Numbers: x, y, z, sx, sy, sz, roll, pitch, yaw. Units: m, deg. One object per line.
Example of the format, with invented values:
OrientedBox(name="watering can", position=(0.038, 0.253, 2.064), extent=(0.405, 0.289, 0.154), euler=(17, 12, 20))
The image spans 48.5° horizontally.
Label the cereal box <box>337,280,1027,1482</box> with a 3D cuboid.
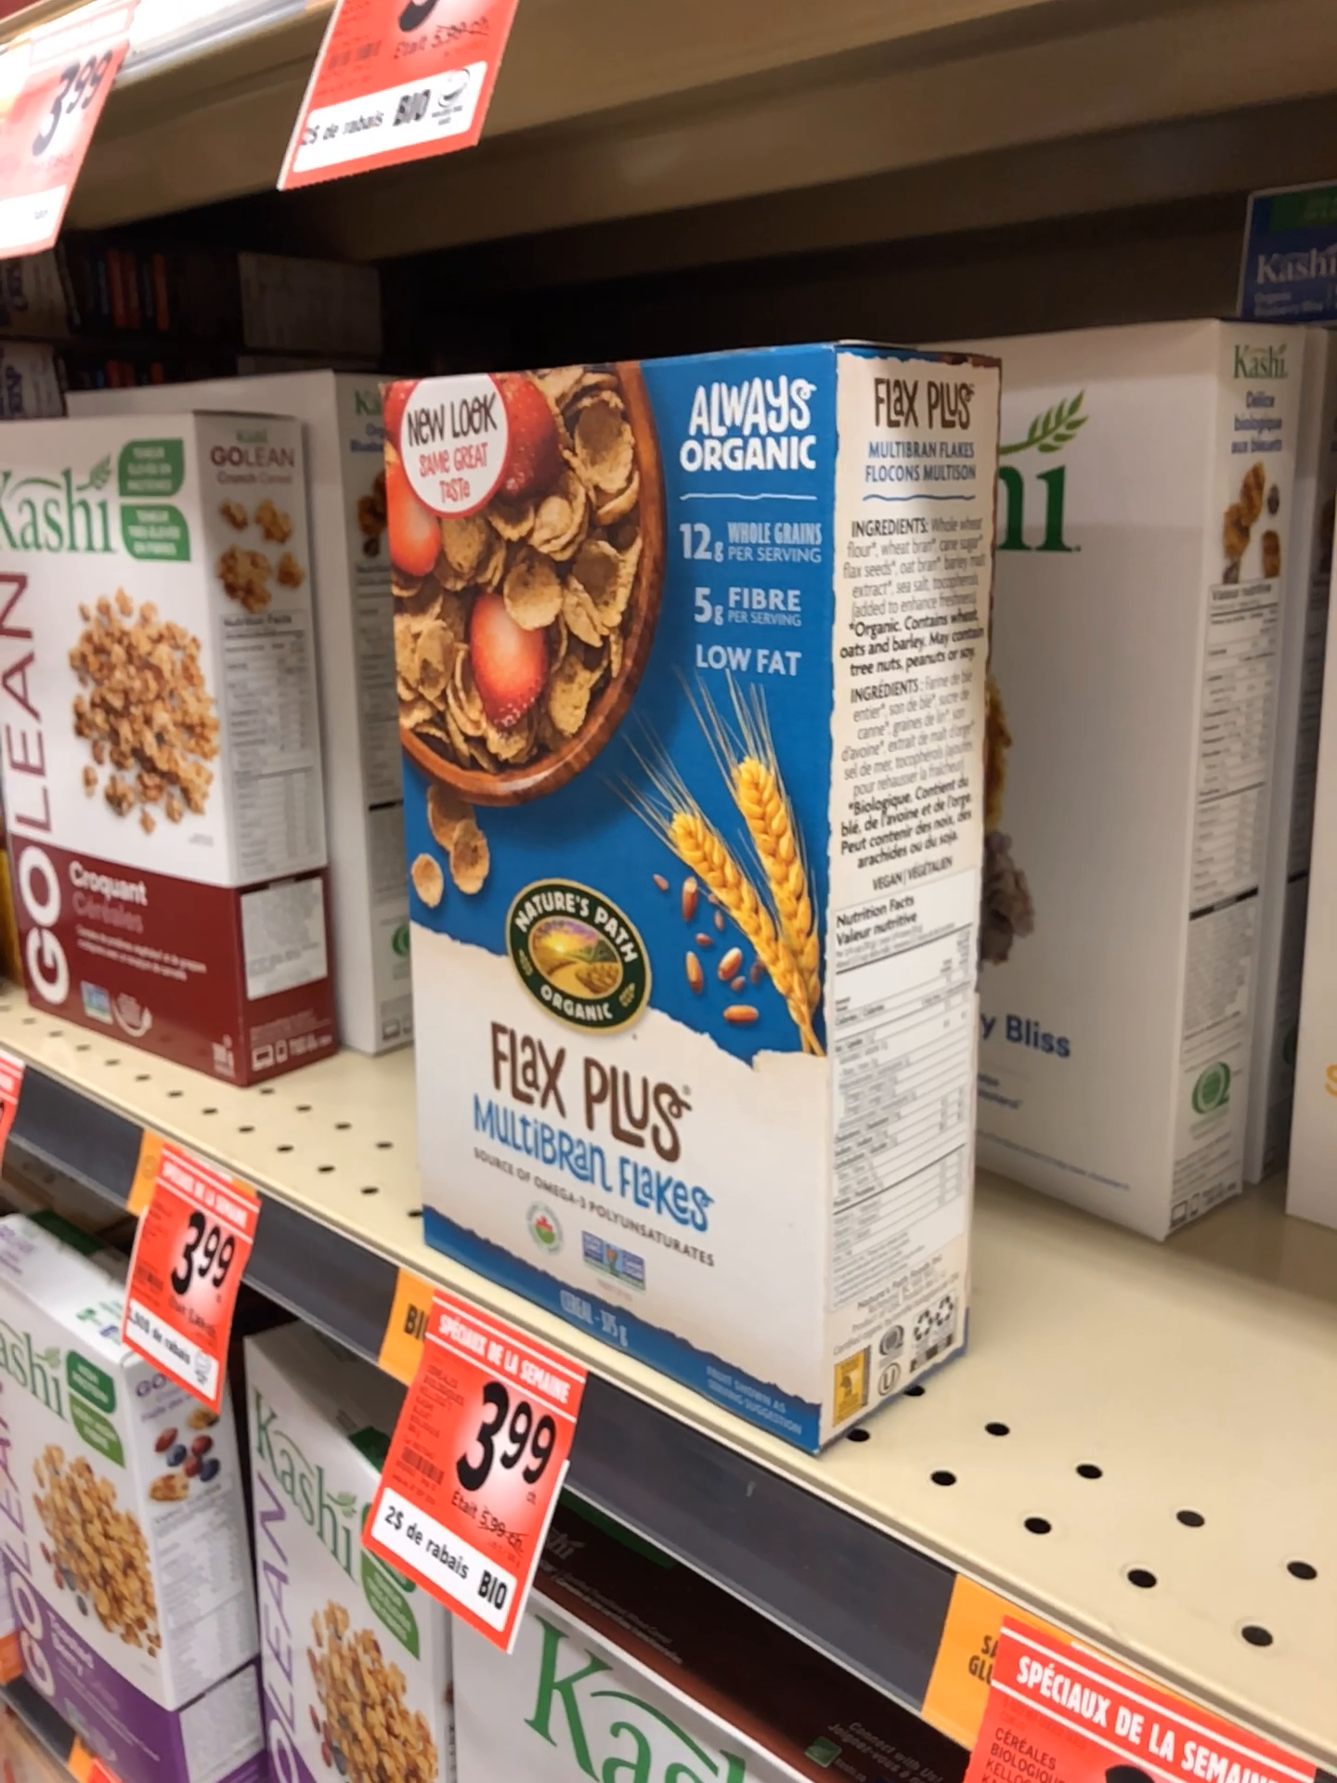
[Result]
OrientedBox(name="cereal box", position=(-0.001, -0.011, 0.403), extent=(0.170, 0.269, 0.070), euler=(14, 22, 43))
